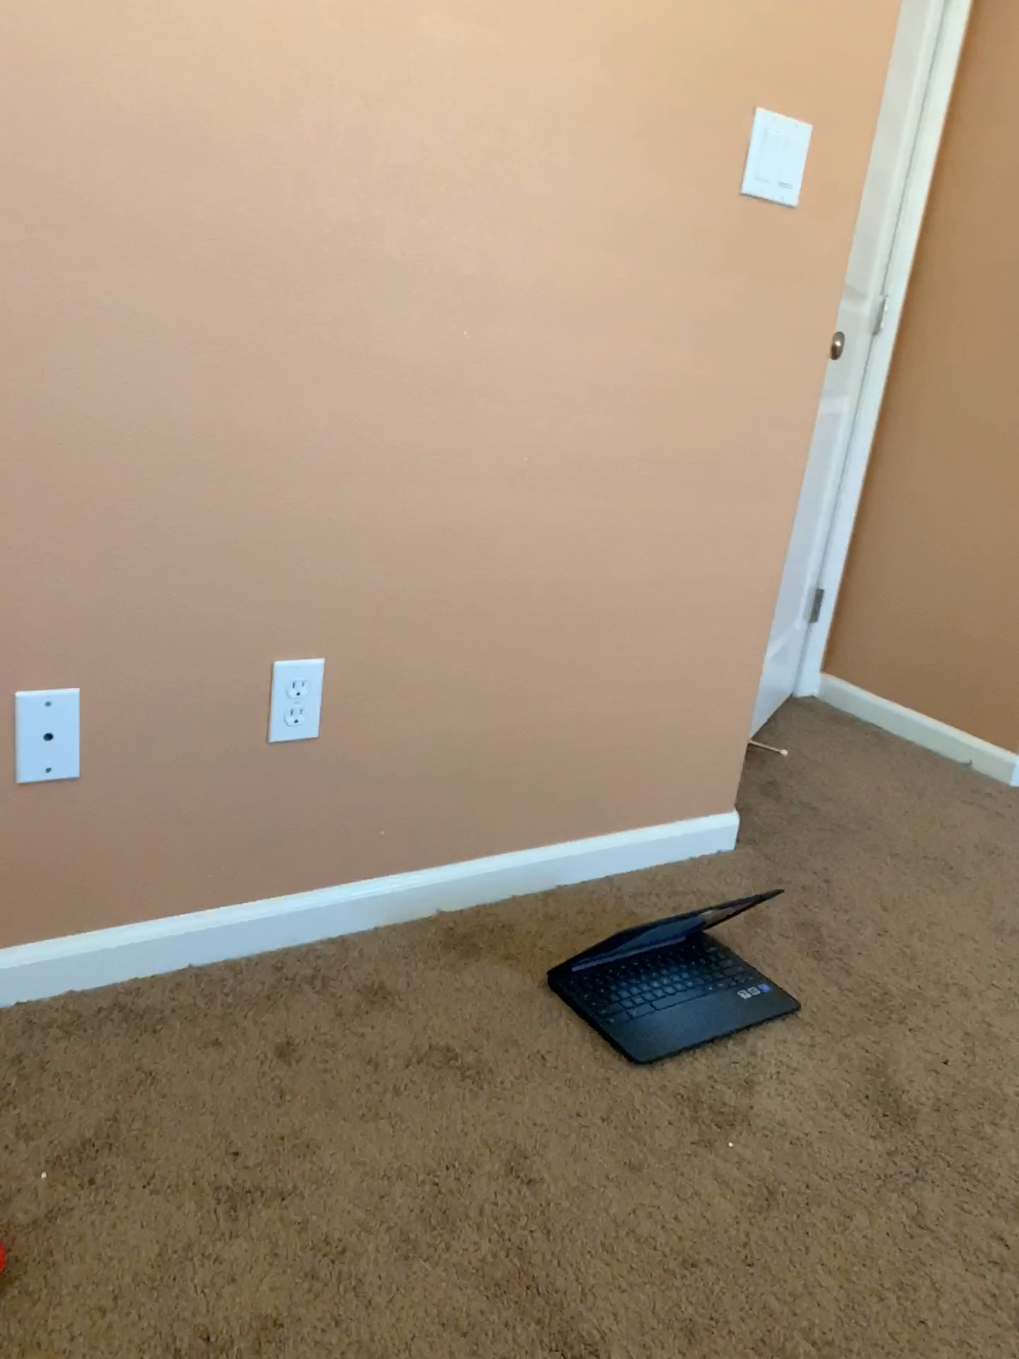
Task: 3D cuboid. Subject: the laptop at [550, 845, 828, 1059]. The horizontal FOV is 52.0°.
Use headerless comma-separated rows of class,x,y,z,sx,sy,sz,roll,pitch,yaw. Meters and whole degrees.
laptop,0.238,0.350,1.396,0.292,0.140,0.192,-4,22,-34
